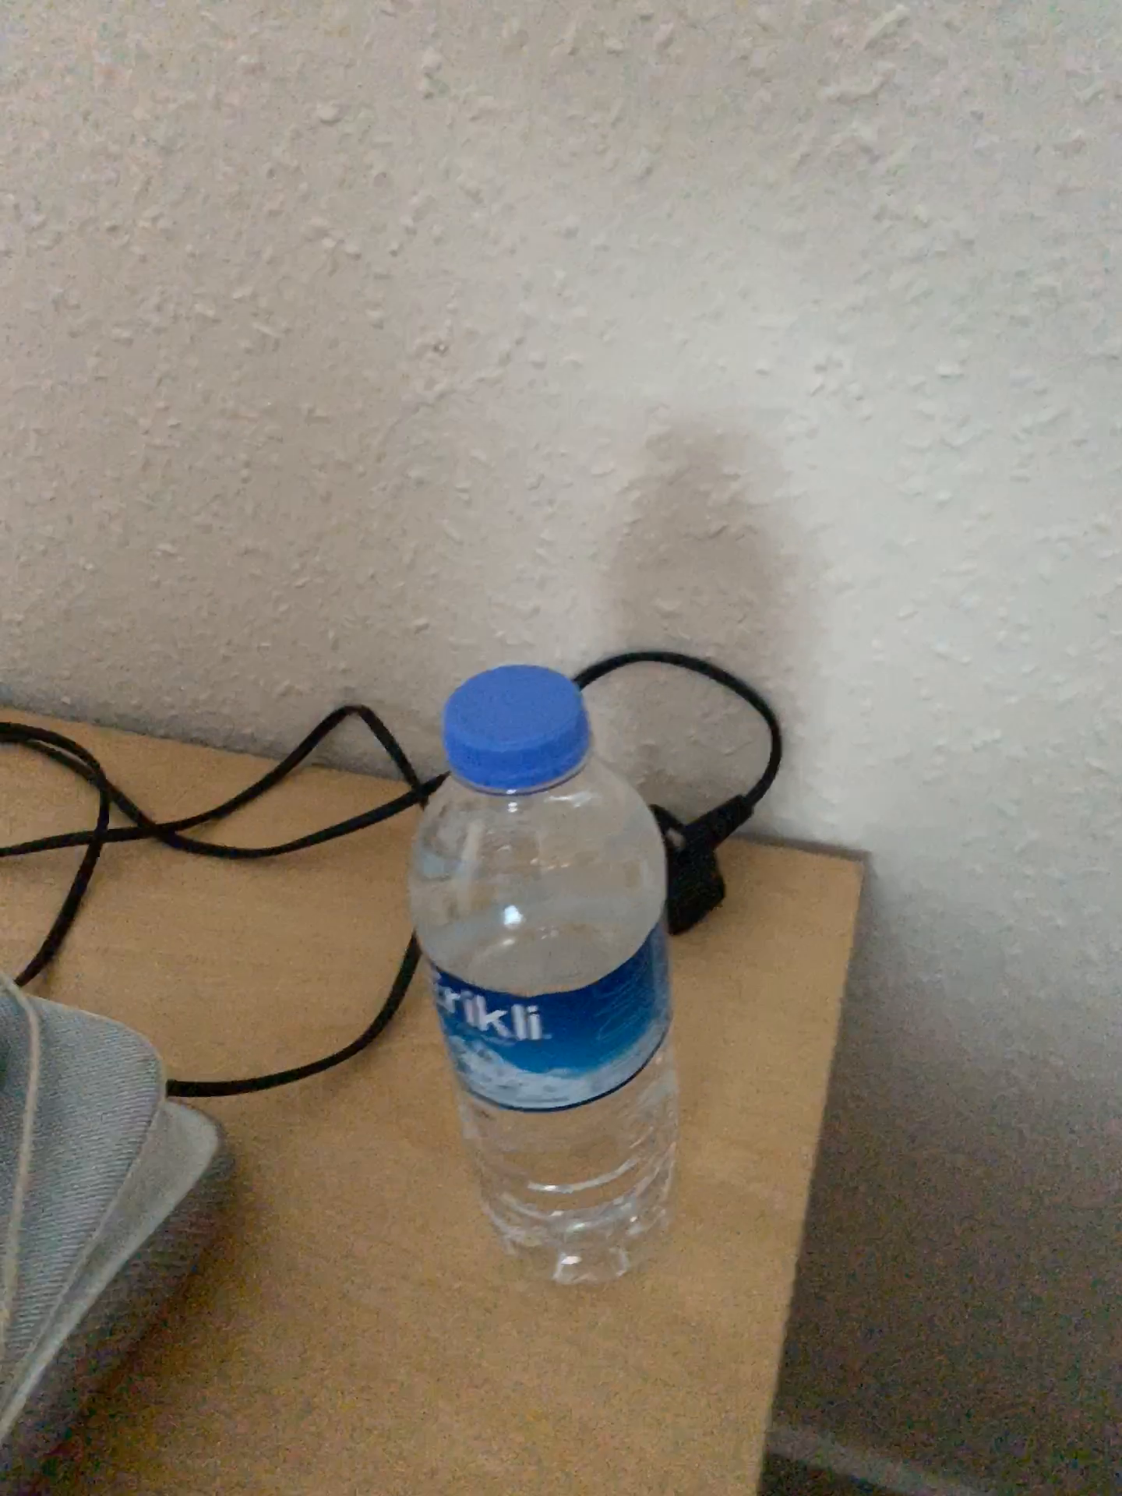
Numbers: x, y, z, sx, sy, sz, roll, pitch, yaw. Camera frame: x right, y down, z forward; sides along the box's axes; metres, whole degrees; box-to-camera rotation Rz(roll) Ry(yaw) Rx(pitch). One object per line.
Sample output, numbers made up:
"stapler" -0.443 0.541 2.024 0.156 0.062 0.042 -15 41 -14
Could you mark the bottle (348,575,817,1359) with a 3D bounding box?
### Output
"bottle" 0.008 0.063 0.298 0.070 0.188 0.070 -1 38 1
